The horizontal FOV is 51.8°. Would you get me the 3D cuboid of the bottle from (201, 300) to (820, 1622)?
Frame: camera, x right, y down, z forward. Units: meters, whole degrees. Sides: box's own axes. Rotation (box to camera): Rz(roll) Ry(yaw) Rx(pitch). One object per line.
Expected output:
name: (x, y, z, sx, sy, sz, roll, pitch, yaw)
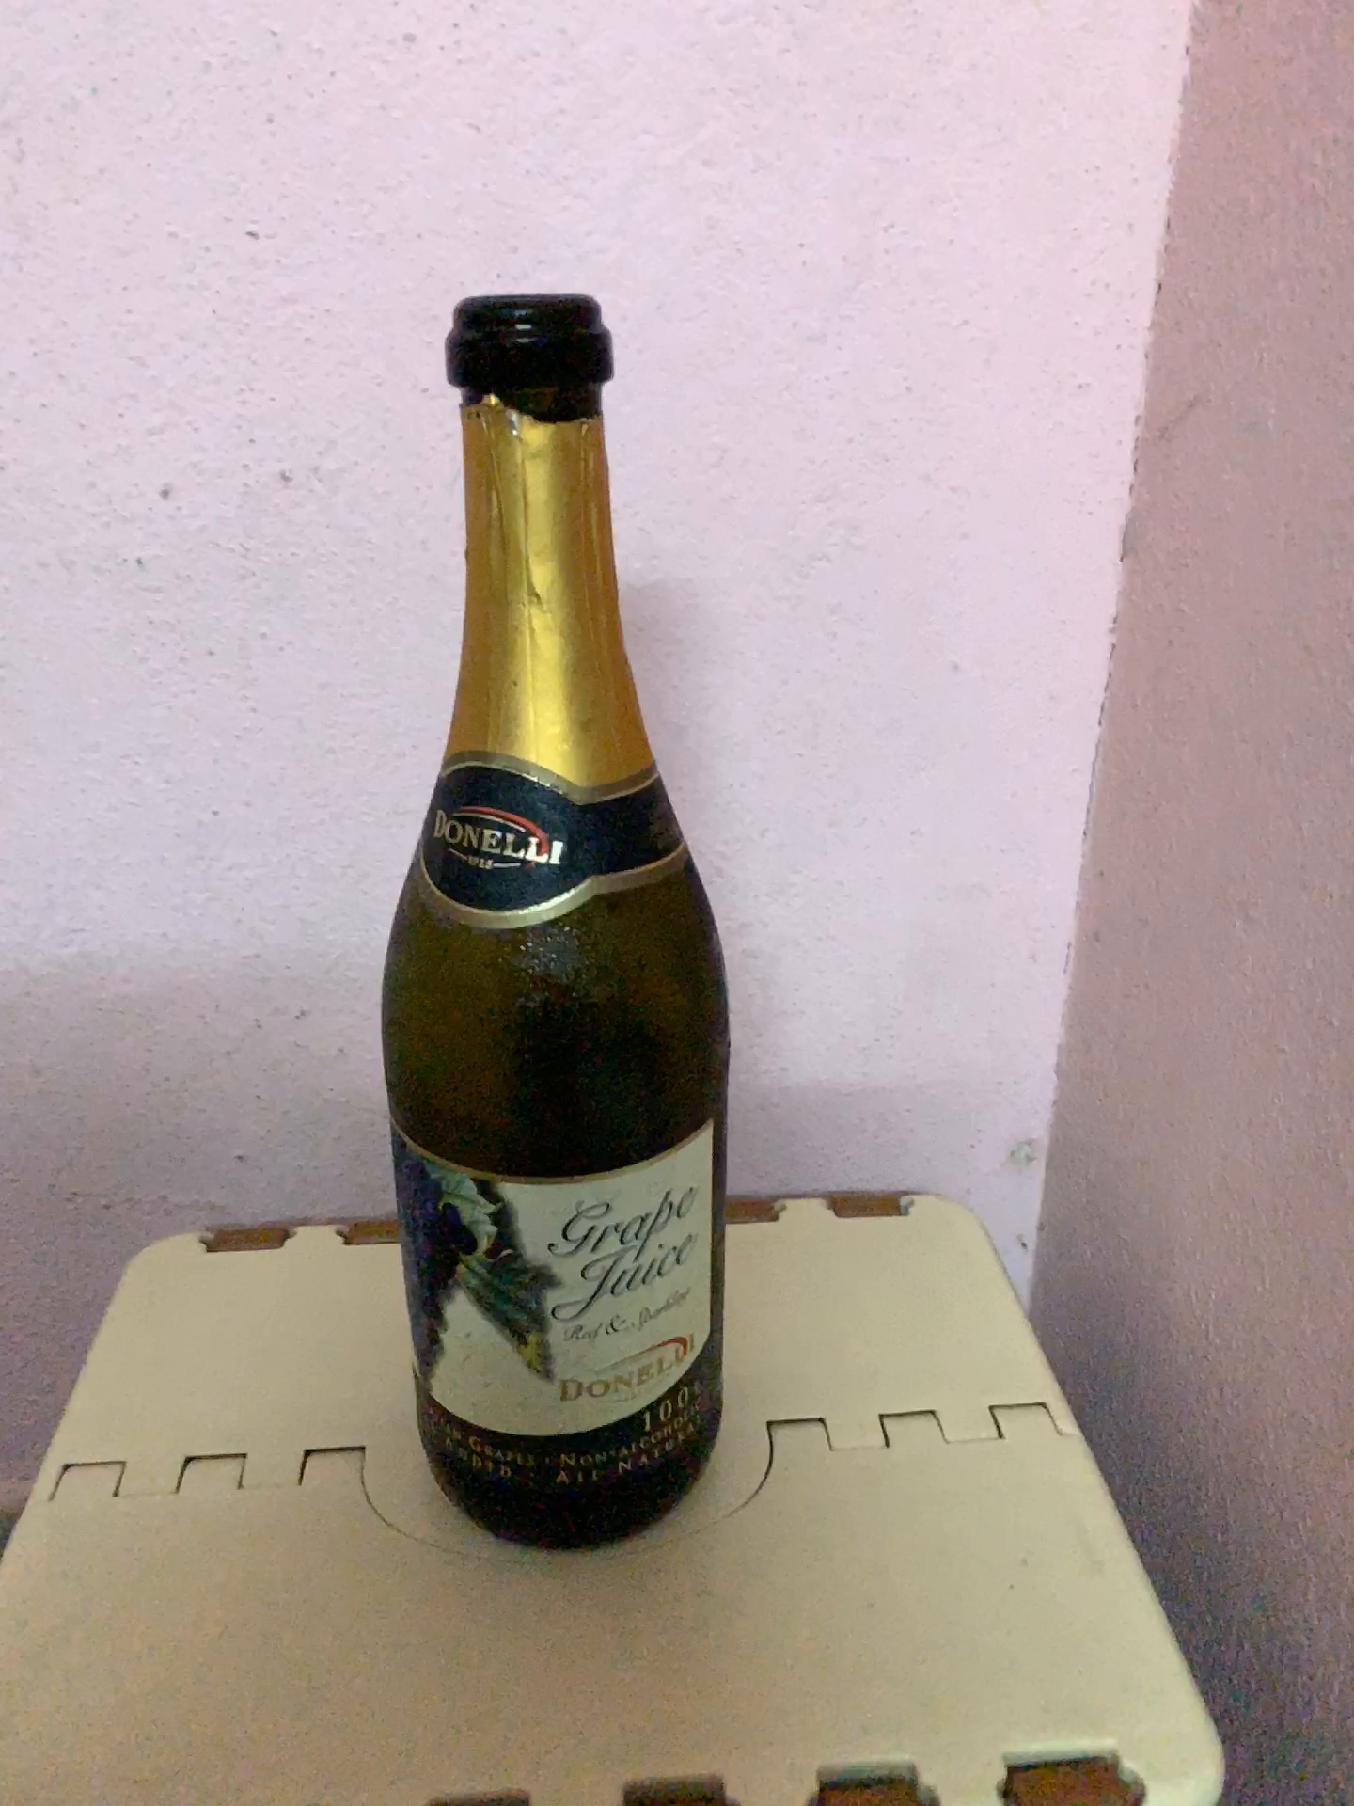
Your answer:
bottle: (-0.029, 0.017, 0.314, 0.090, 0.279, 0.070, 12, 26, 25)
